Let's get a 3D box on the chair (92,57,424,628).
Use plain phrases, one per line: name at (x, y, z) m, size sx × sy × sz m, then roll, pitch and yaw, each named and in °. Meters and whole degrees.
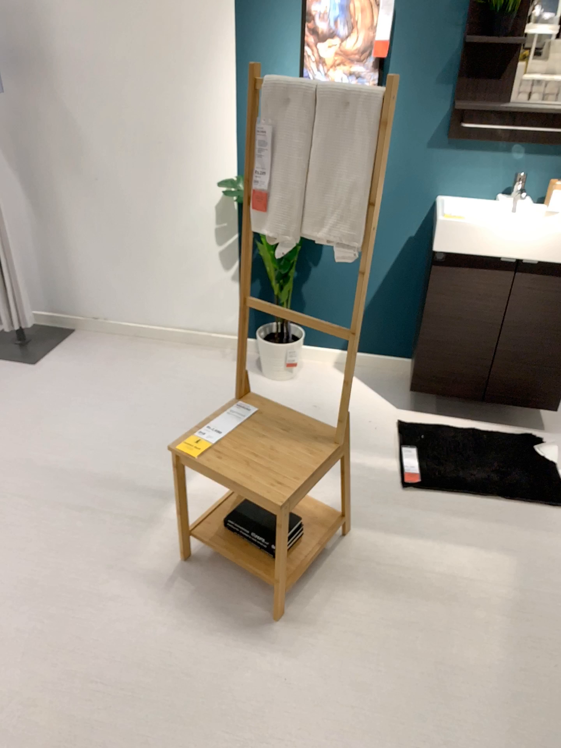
chair at (-0.043, -0.052, 1.466) m, size 0.461 × 1.294 × 0.471 m, roll 22°, pitch 37°, yaw 30°
